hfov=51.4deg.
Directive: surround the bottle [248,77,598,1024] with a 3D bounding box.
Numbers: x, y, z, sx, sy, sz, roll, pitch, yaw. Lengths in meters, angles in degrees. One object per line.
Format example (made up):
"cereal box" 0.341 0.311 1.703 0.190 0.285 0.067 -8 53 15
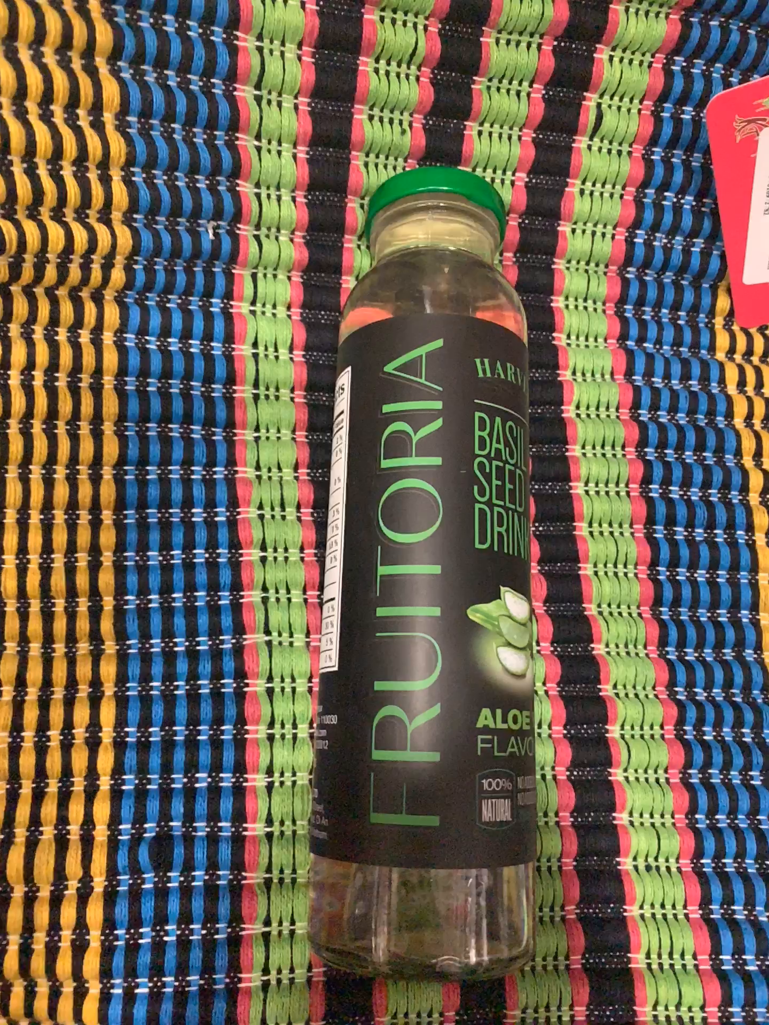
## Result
"bottle" 0.011 0.007 0.198 0.050 0.060 0.200 13 74 -44
